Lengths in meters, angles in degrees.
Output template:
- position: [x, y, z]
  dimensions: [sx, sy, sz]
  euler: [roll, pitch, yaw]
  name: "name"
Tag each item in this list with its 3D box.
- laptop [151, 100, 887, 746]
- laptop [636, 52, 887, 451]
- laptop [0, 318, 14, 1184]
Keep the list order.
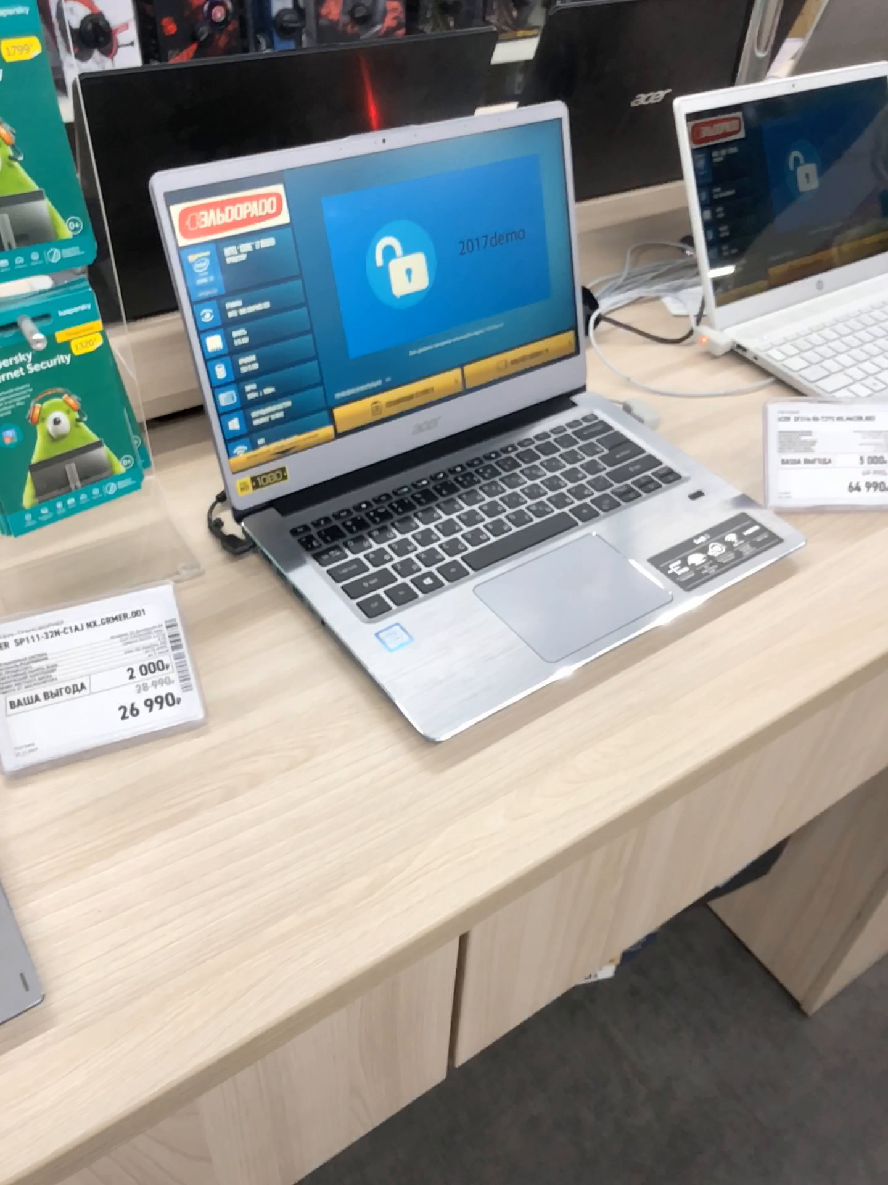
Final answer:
- position: [0.039, -0.139, 0.628]
  dimensions: [0.315, 0.197, 0.303]
  euler: [-24, 51, -28]
  name: "laptop"
- position: [0.408, -0.328, 0.885]
  dimensions: [0.305, 0.164, 0.323]
  euler: [-24, 52, -27]
  name: "laptop"
- position: [-0.373, 0.072, 0.383]
  dimensions: [0.280, 0.159, 0.312]
  euler: [-22, 51, -26]
  name: "laptop"
